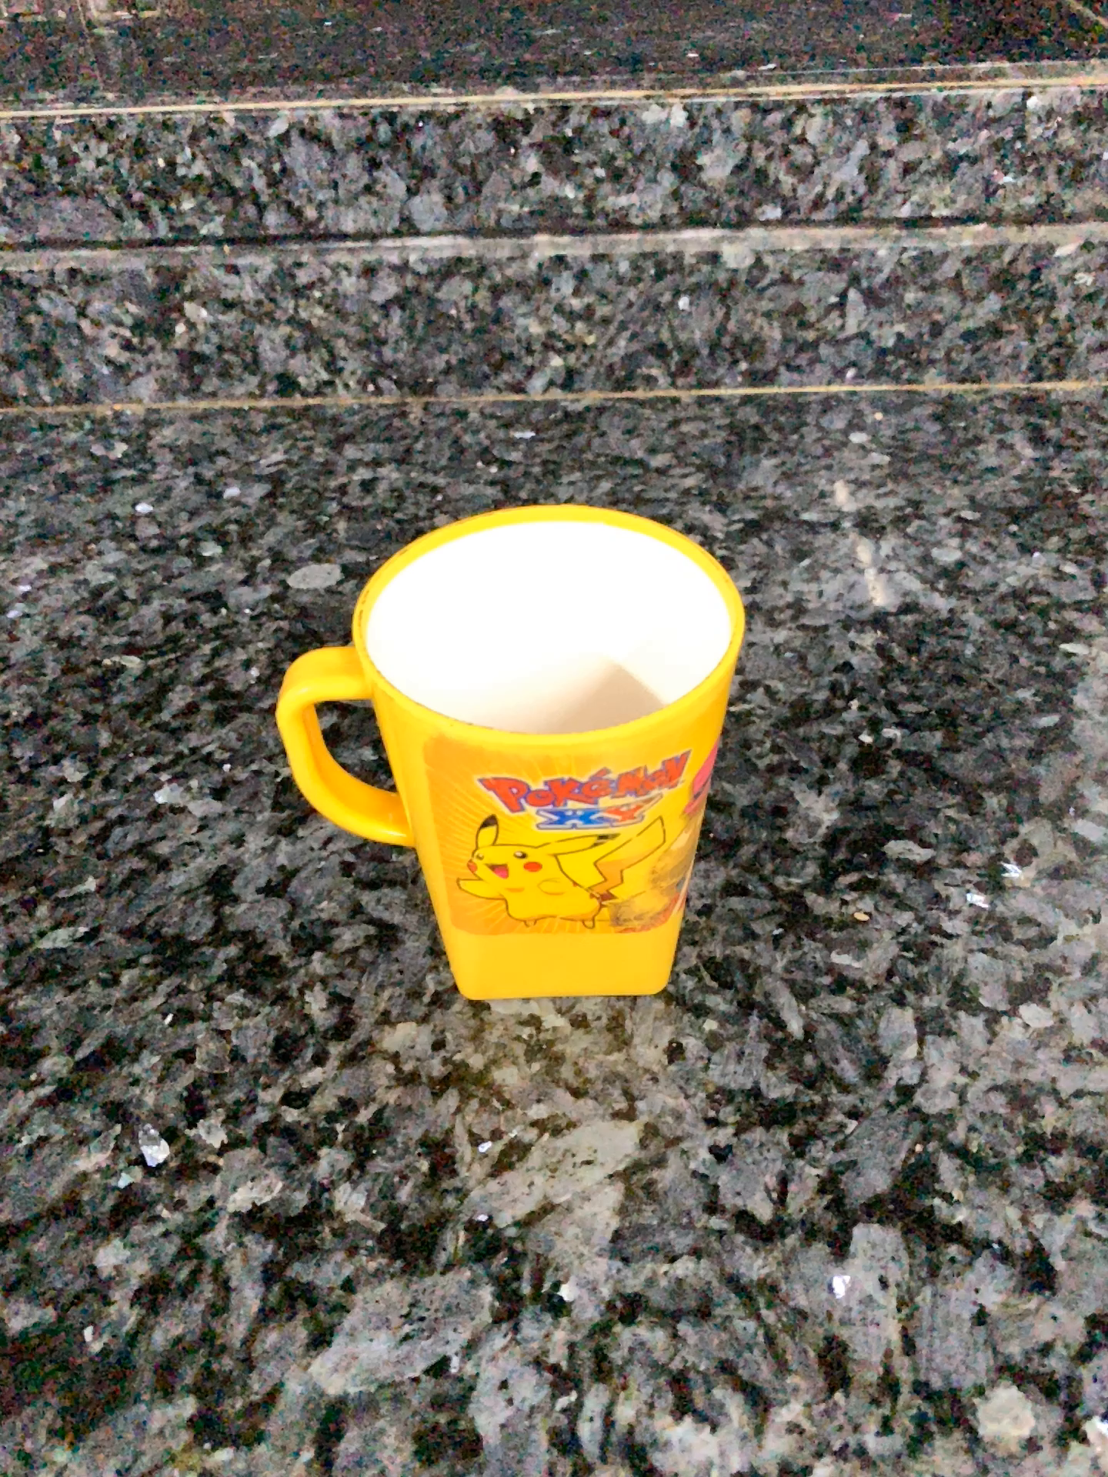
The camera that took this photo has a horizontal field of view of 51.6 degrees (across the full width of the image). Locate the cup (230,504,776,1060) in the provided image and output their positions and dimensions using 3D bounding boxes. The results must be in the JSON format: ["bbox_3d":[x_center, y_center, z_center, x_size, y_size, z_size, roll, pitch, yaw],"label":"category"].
[{"bbox_3d":[-0.010,0.013,0.273,0.100,0.109,0.071,-3,43,-1],"label":"cup"}]
